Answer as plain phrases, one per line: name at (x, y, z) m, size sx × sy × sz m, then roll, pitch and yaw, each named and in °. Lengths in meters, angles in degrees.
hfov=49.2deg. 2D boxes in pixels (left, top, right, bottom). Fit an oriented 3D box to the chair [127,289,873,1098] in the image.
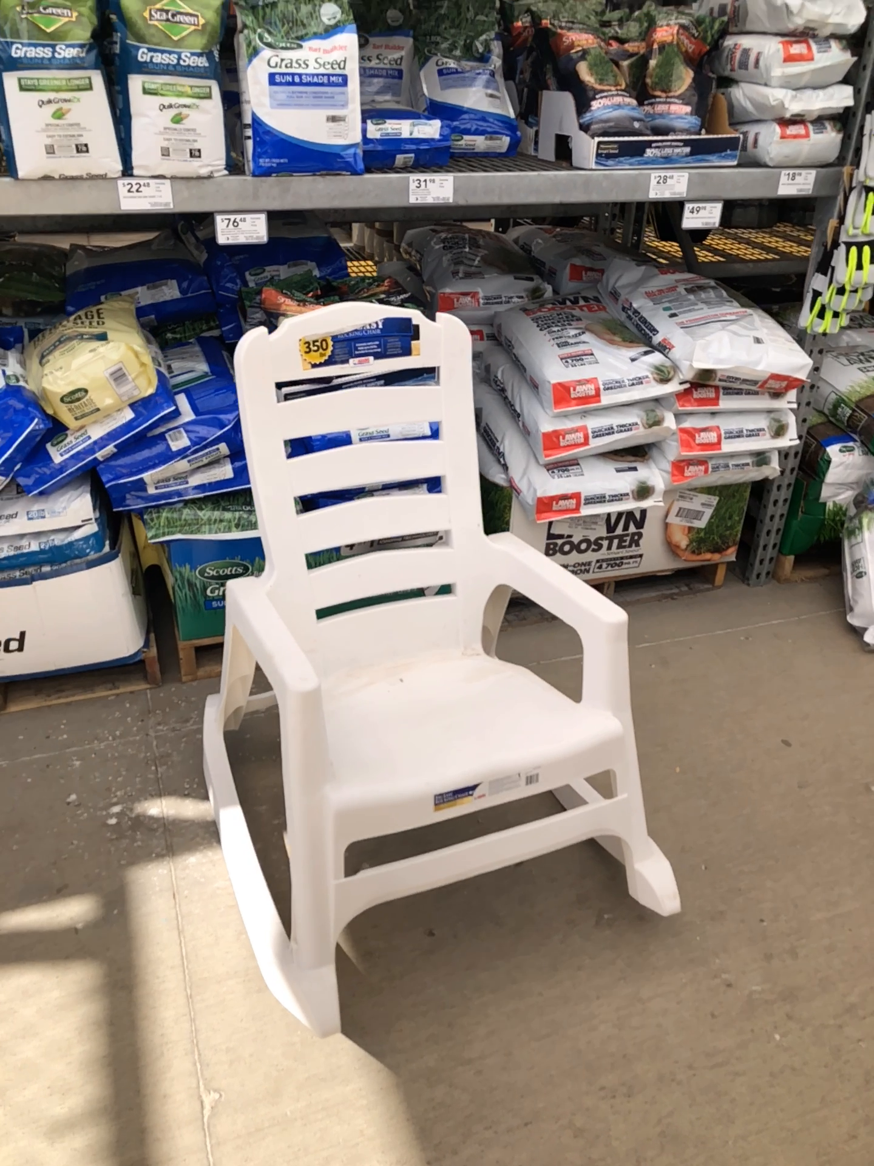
chair at (-0.015, 0.052, 1.764) m, size 0.845 × 0.928 × 1.035 m, roll -9°, pitch 30°, yaw -22°
